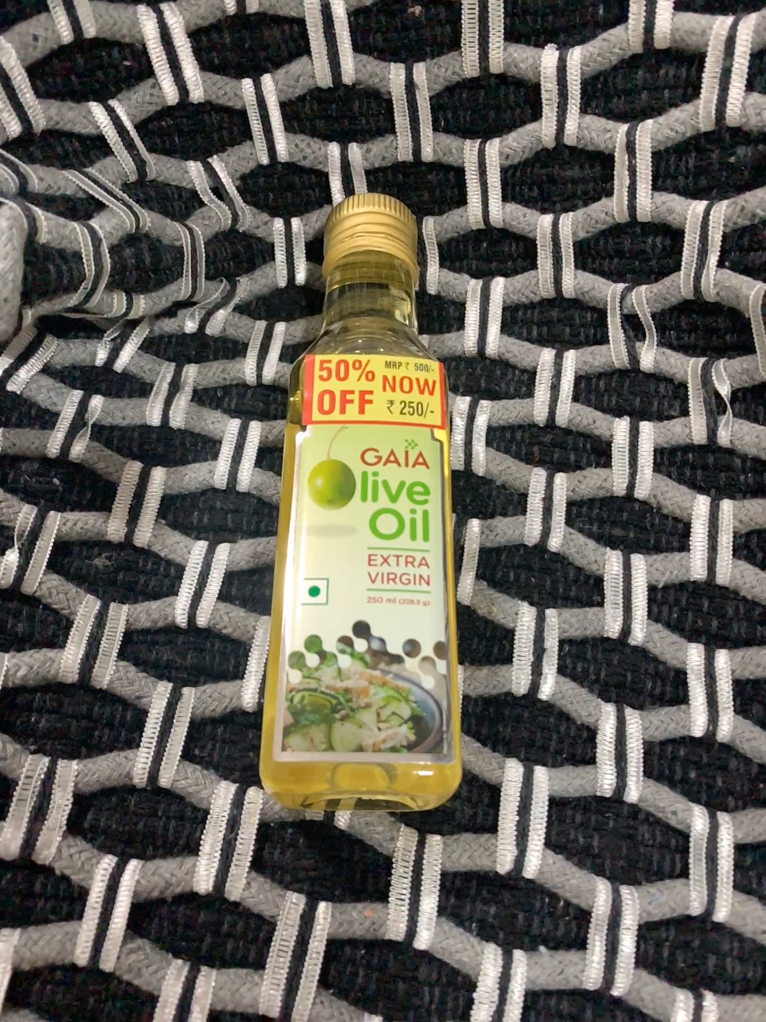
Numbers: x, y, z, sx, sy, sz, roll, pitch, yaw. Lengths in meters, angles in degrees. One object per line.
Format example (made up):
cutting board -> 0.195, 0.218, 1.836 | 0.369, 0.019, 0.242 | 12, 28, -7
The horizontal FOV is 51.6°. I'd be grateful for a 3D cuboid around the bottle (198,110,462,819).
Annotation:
bottle -> -0.009, -0.021, 0.215 | 0.050, 0.050, 0.190 | 2, 64, -1
